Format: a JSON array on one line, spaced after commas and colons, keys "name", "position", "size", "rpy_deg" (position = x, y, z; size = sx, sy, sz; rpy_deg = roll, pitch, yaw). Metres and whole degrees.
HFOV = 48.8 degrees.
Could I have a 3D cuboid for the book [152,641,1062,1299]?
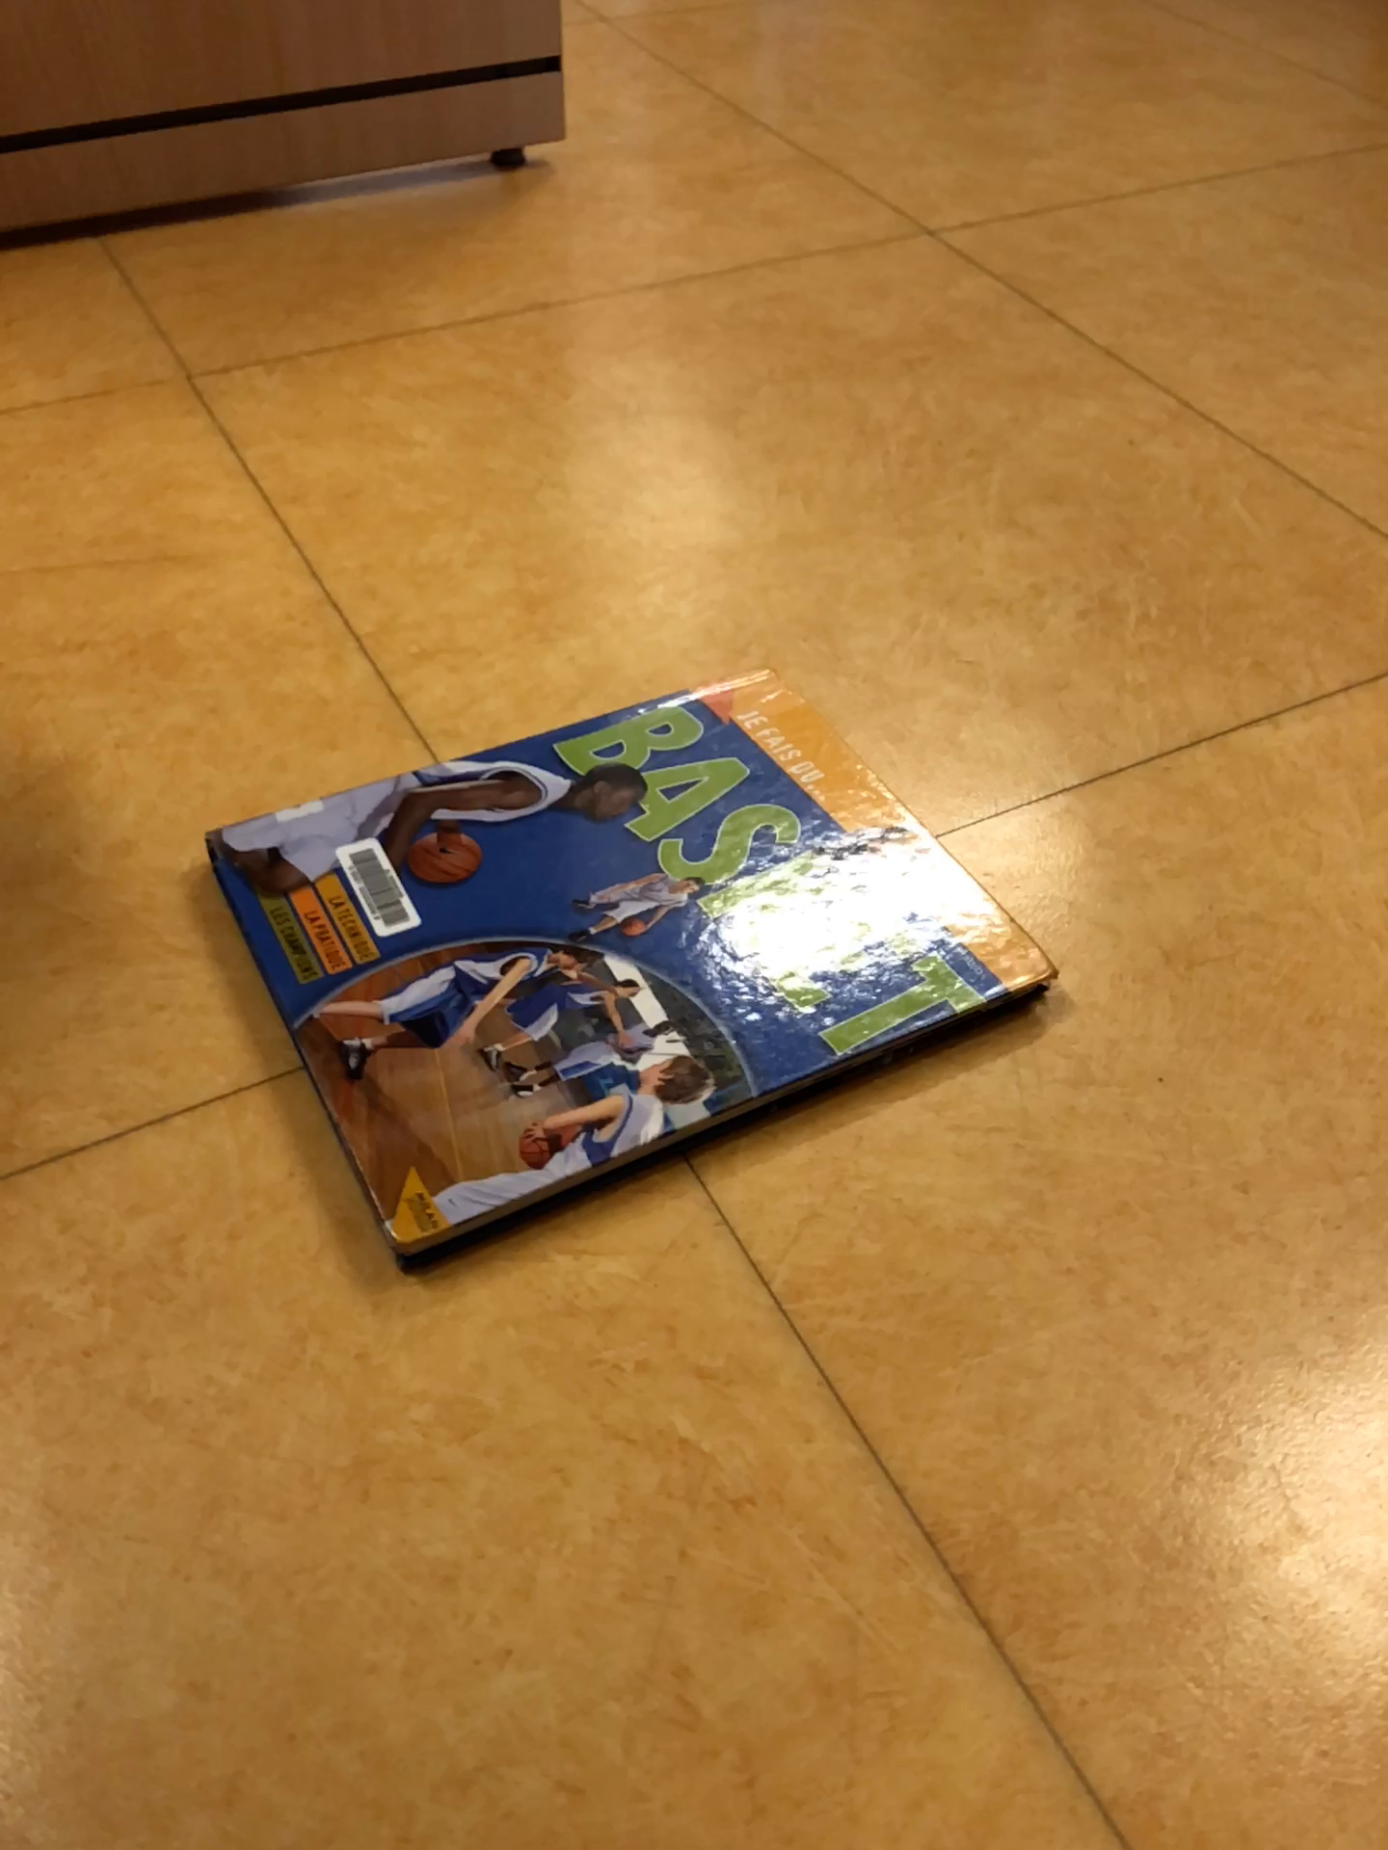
[{"name": "book", "position": [-0.036, -0.006, 0.551], "size": [0.257, 0.020, 0.211], "rpy_deg": [-20, 50, -21]}]
